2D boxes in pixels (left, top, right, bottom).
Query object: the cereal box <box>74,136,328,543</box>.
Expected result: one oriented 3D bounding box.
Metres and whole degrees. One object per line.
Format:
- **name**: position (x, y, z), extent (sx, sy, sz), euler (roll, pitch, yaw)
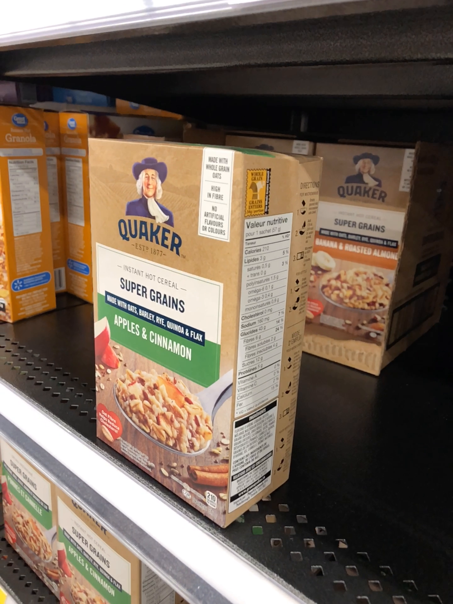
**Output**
- **cereal box**: position (-0.023, 0.010, 0.297), extent (0.130, 0.199, 0.060), euler (19, 24, 39)
